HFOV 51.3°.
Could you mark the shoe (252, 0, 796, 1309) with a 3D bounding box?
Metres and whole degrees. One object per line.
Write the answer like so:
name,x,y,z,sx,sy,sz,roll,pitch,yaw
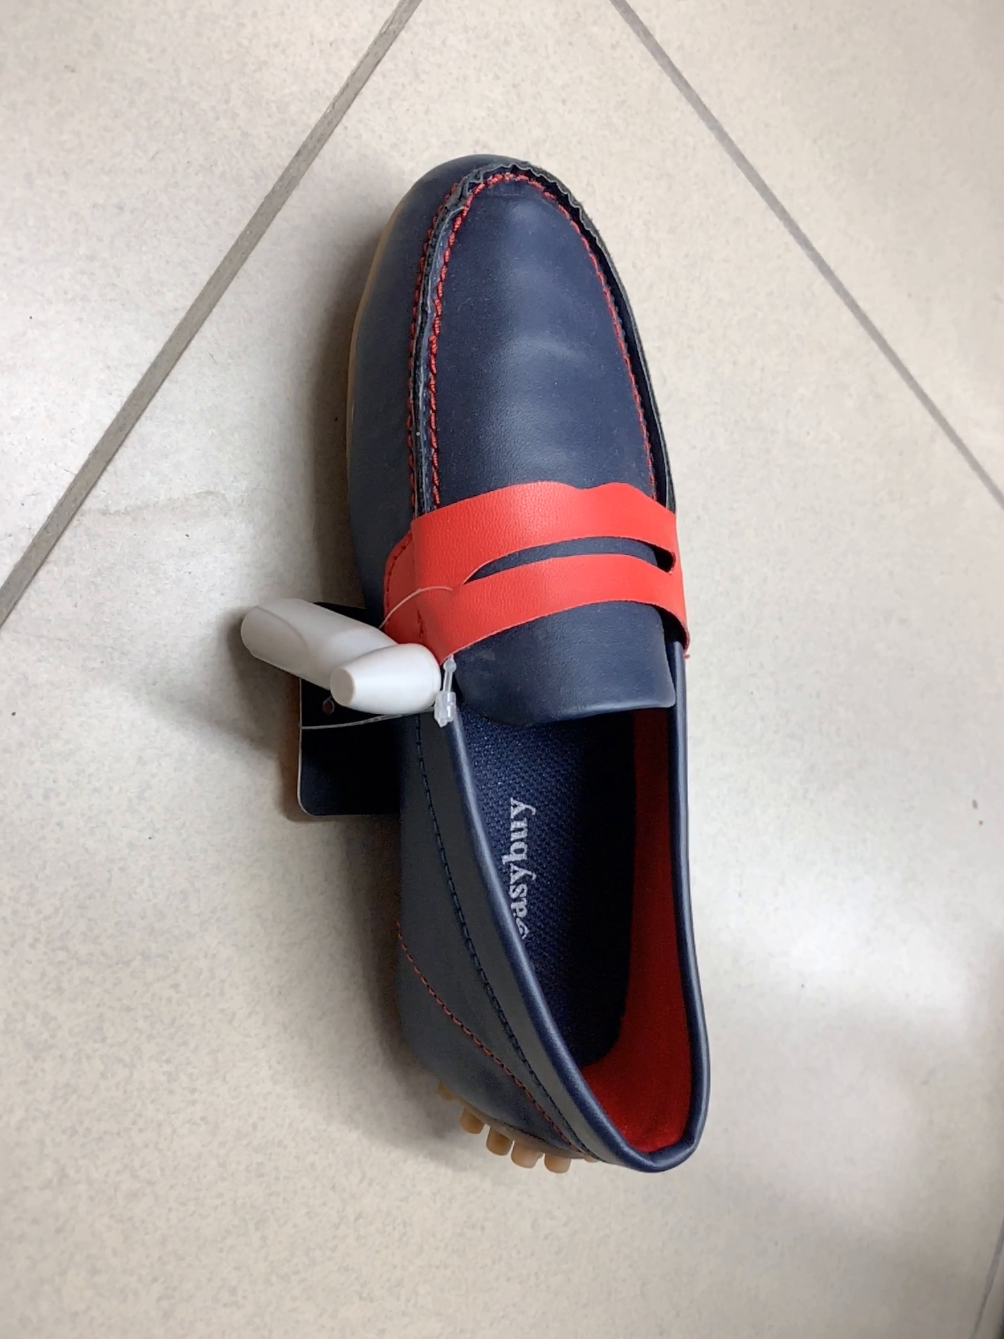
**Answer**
shoe,0.006,-0.003,0.202,0.080,0.050,0.200,-5,93,-37
